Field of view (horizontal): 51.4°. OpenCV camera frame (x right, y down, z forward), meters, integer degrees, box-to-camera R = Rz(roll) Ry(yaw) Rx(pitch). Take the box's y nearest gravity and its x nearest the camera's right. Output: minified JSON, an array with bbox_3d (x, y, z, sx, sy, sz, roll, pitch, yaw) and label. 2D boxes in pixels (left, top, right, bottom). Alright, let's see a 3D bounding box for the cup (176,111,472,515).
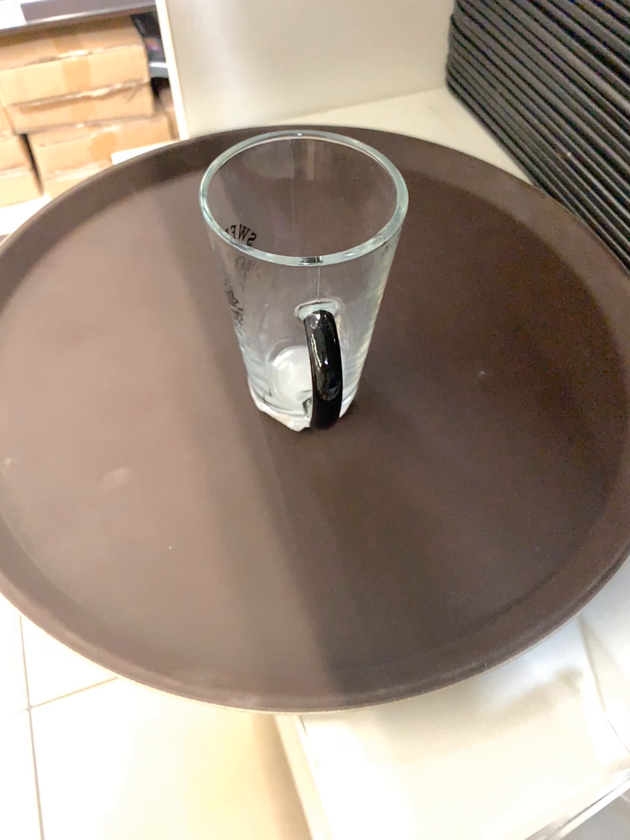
[{"bbox_3d":[-0.004,-0.045,0.295,0.090,0.120,0.120,-8,55,-6],"label":"cup"}]
